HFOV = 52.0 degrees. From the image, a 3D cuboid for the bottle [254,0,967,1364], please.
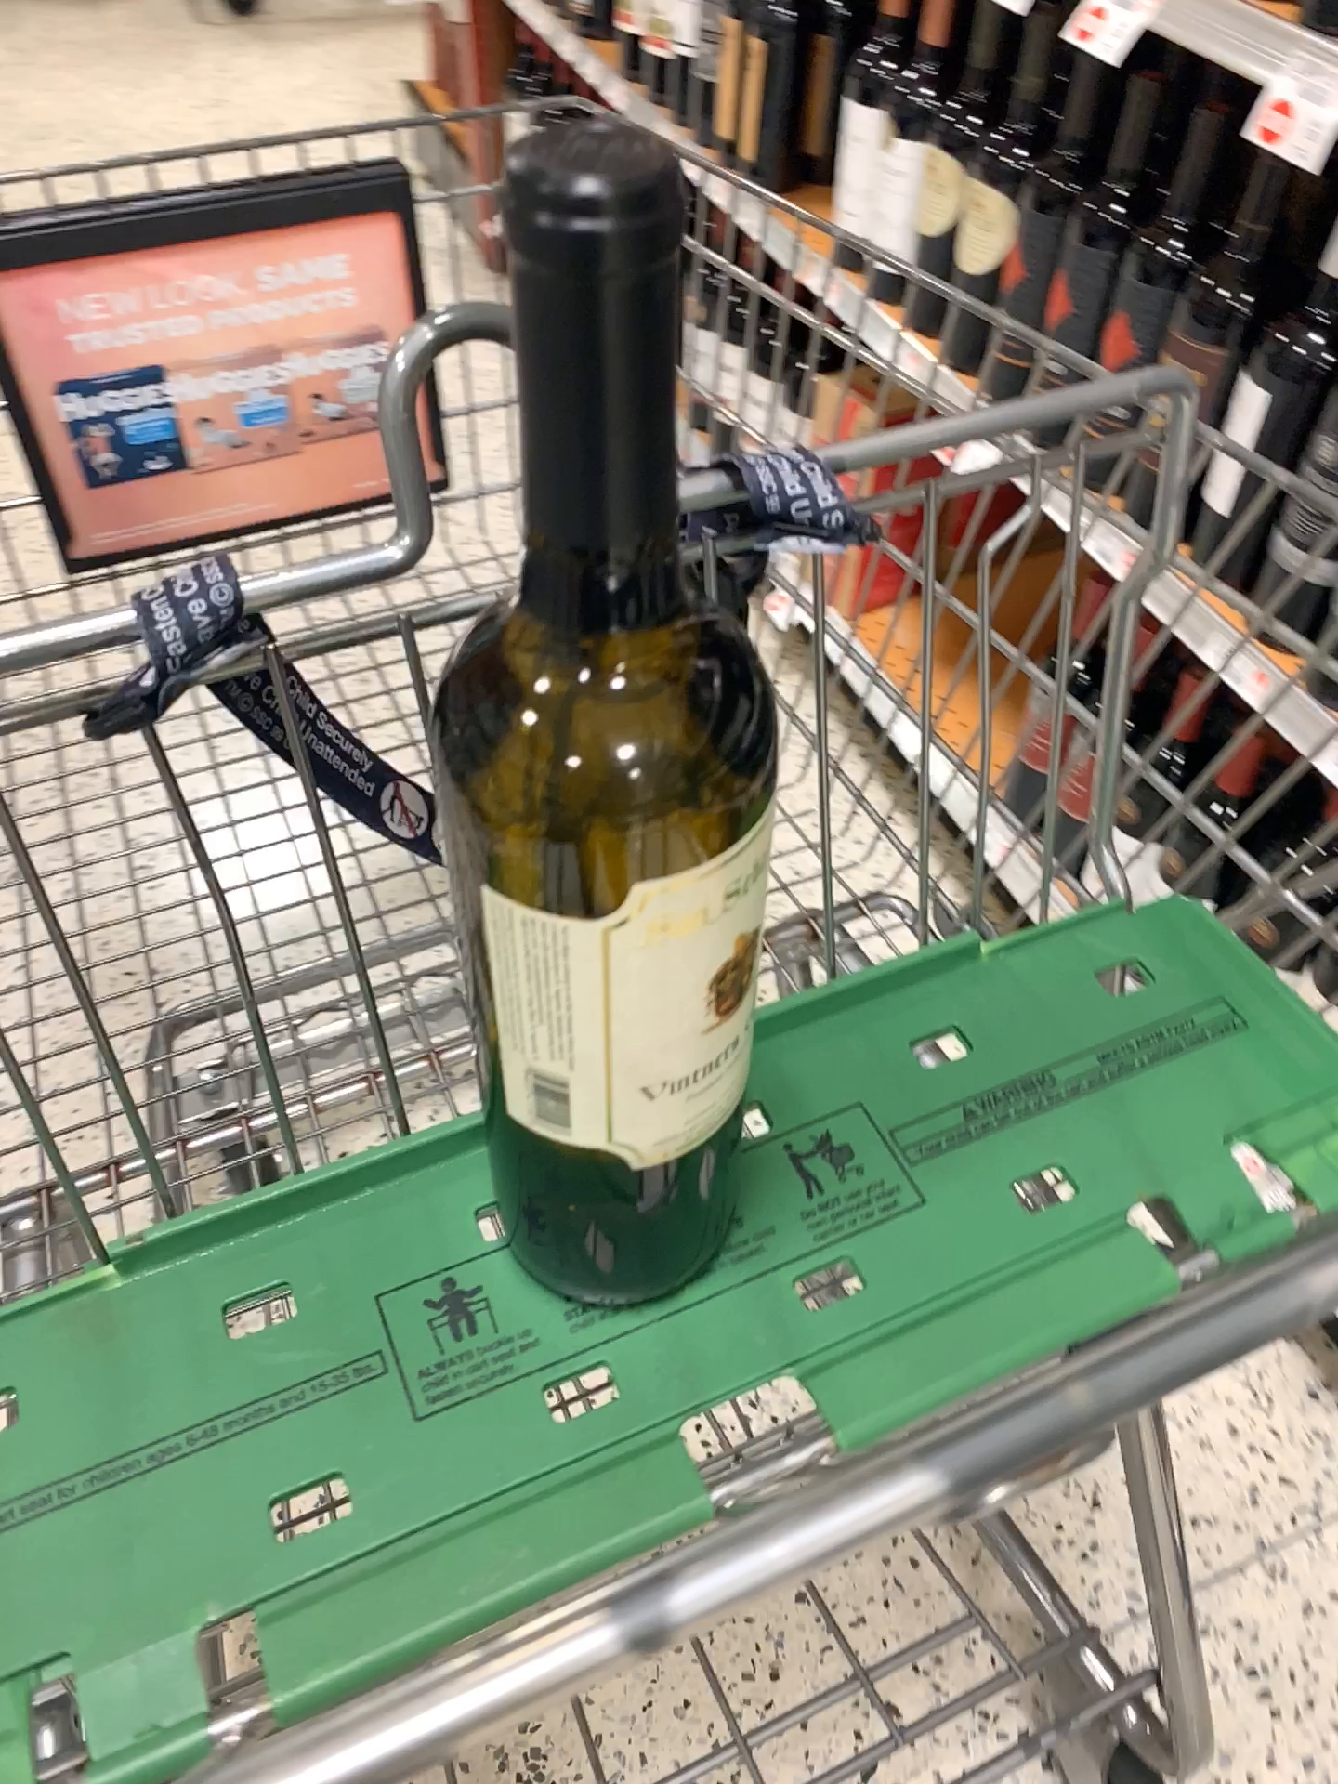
[{"bbox_3d":[-0.008,-0.011,0.313,0.070,0.307,0.081,29,53,24],"label":"bottle"}]
